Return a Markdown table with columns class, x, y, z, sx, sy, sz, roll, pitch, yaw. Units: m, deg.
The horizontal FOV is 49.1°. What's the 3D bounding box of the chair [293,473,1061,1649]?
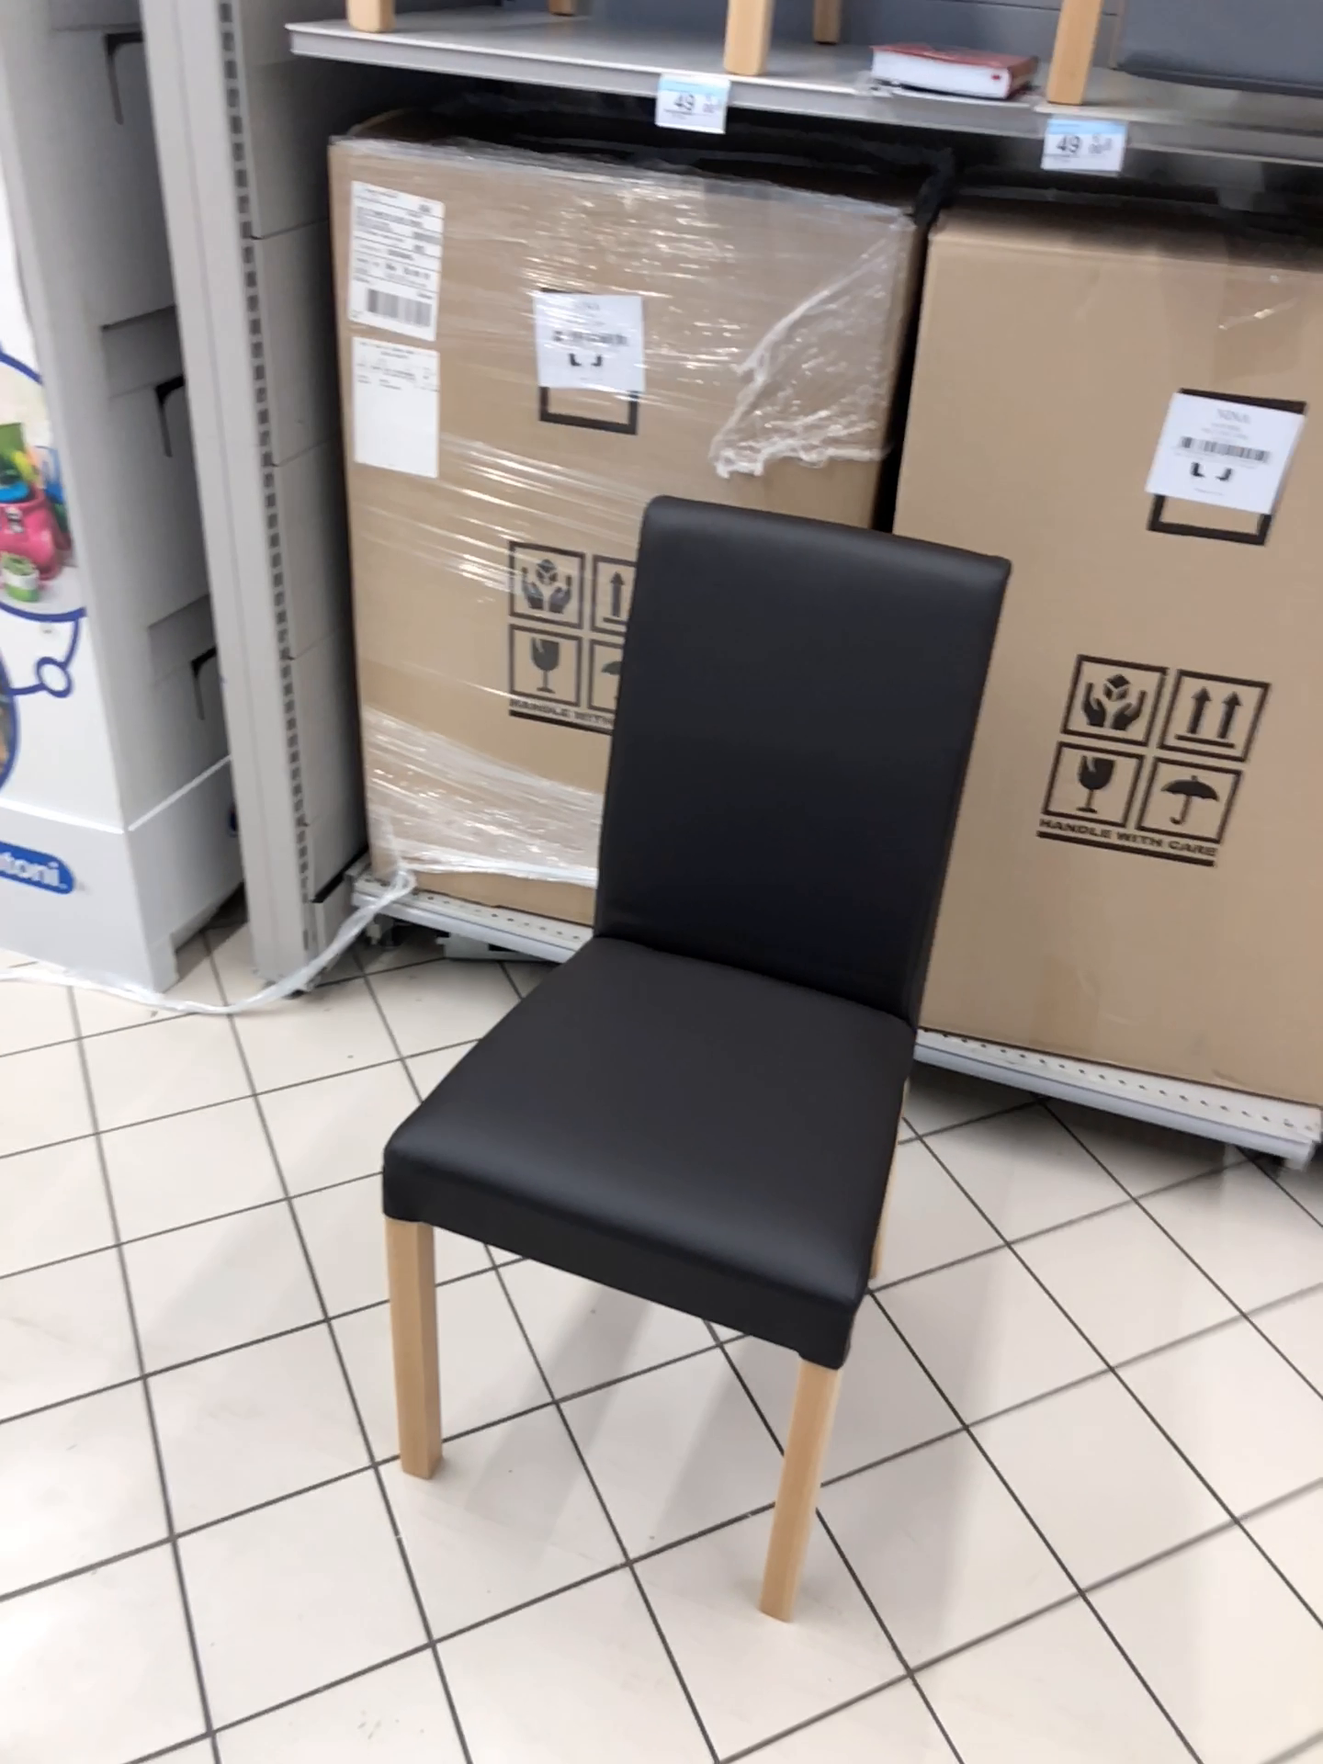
| class | x | y | z | sx | sy | sz | roll | pitch | yaw |
| --- | --- | --- | --- | --- | --- | --- | --- | --- | --- |
| chair | 0.036 | 0.150 | 1.392 | 0.450 | 0.854 | 0.594 | 14 | 35 | 14 |
